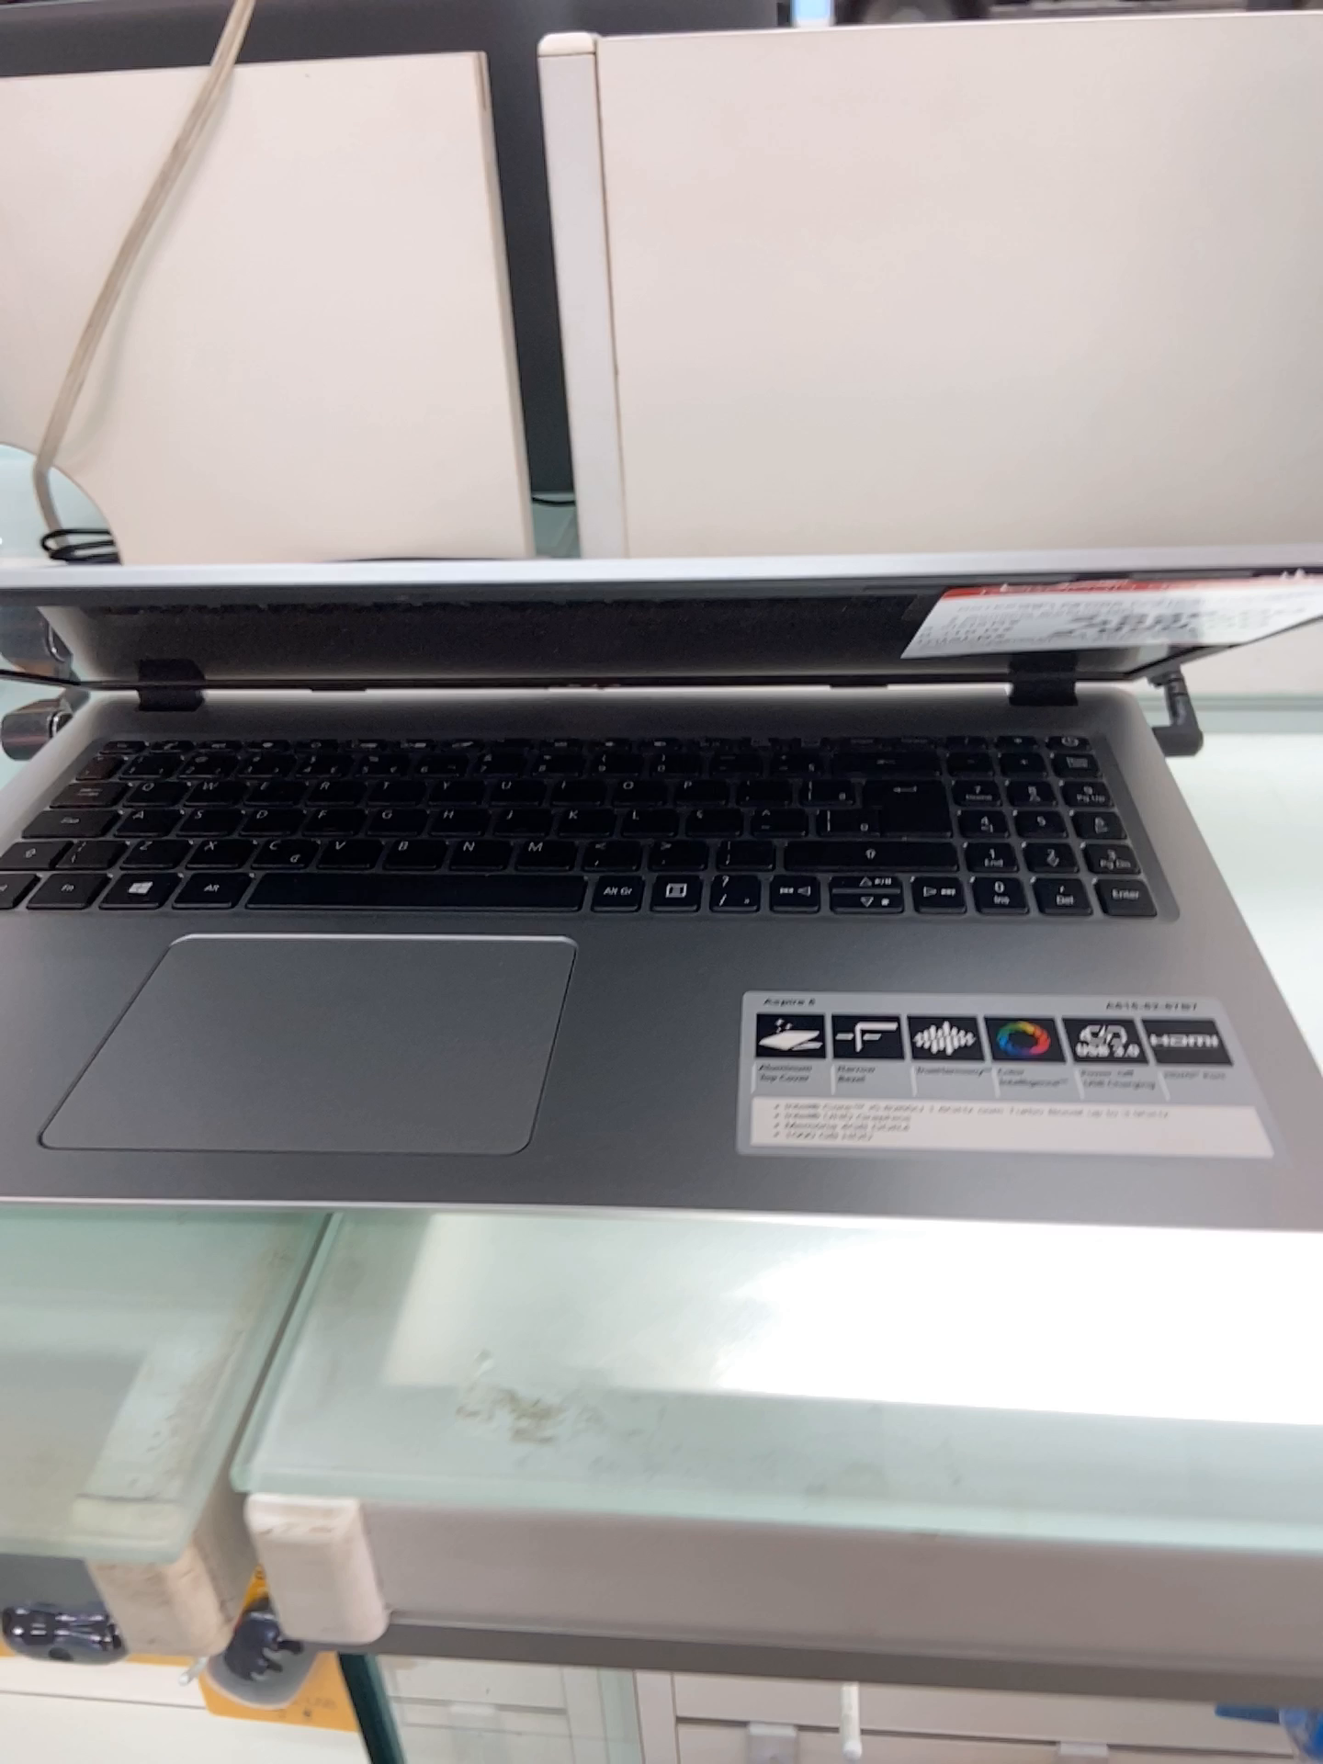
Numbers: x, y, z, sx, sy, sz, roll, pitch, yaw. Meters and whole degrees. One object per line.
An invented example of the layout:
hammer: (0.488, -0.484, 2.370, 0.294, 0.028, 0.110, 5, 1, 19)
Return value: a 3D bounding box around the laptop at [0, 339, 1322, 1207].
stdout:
laptop: (-0.038, -0.050, 0.351, 0.364, 0.116, 0.247, 0, 31, 4)
